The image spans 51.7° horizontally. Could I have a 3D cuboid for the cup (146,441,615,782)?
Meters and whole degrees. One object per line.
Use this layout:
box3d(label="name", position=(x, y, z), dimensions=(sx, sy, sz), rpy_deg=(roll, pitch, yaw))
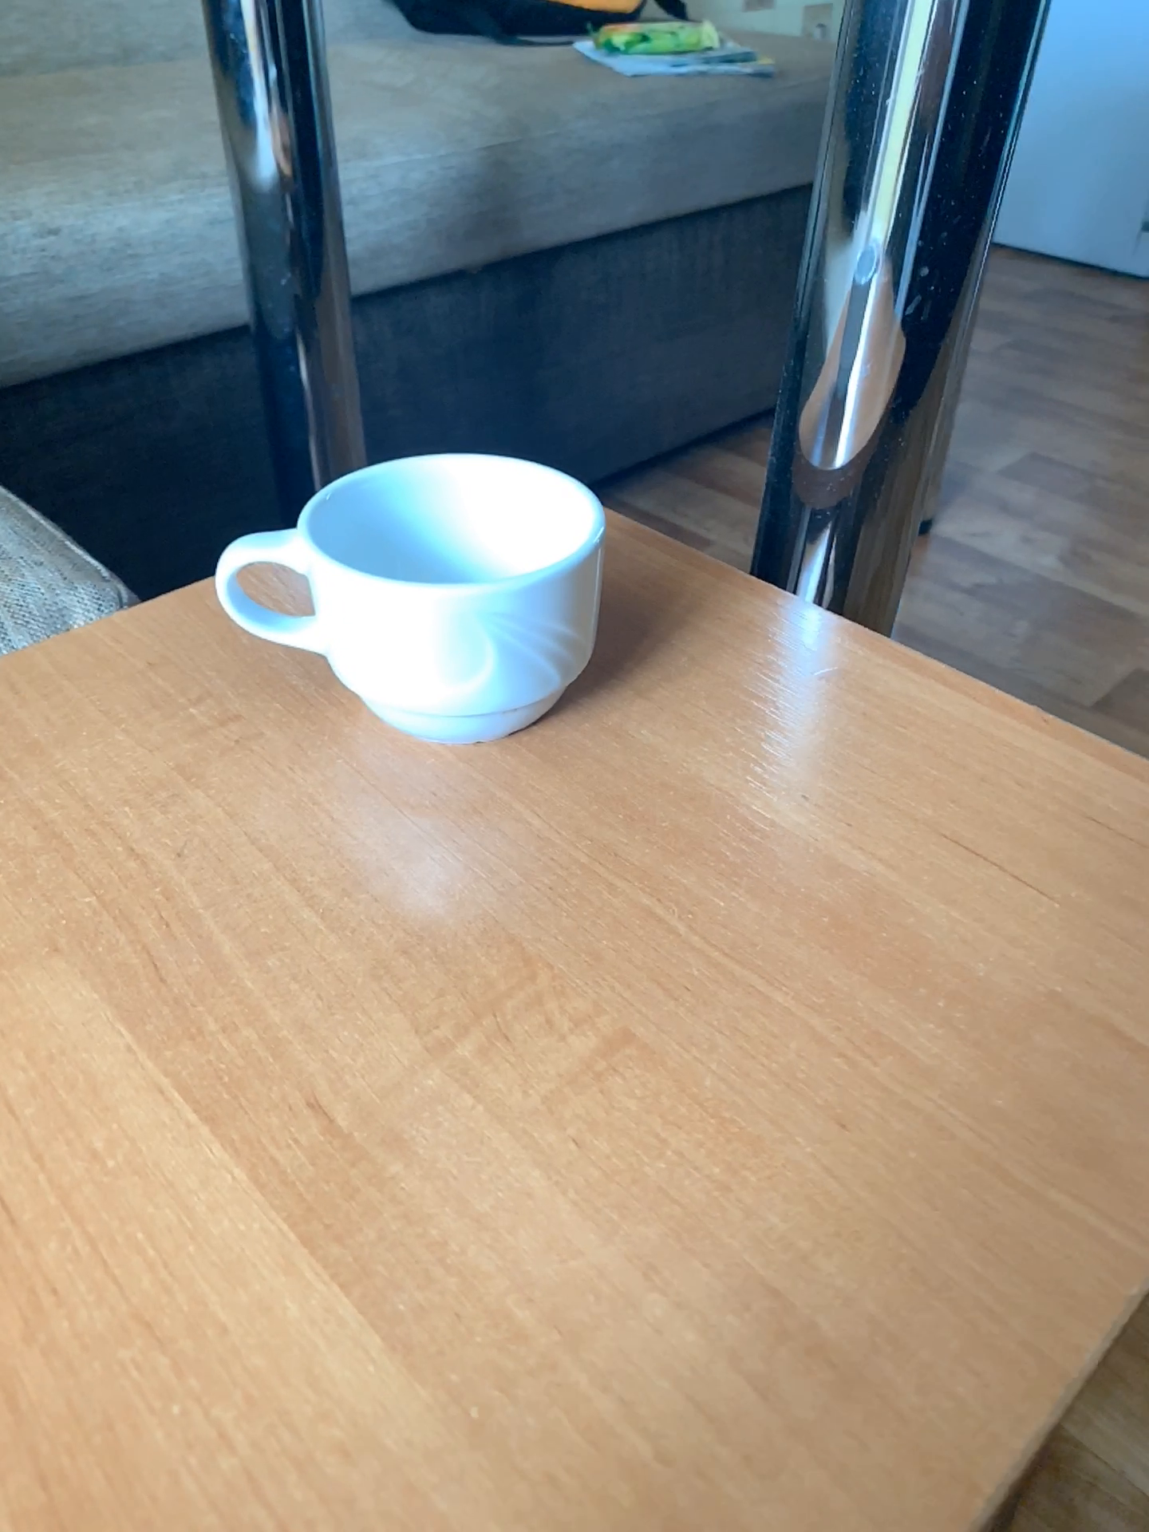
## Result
box3d(label="cup", position=(-0.044, -0.042, 0.301), dimensions=(0.100, 0.050, 0.080), rpy_deg=(-2, 38, -4))
